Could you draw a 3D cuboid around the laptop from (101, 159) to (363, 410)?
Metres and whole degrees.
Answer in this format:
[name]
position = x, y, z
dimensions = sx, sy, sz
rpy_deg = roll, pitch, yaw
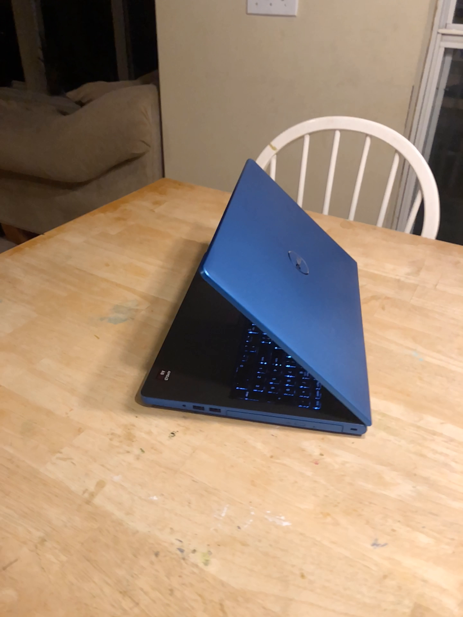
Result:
[laptop]
position = 0.022, -0.062, 0.671
dimensions = 0.248, 0.159, 0.363
rpy_deg = 5, 33, 7
